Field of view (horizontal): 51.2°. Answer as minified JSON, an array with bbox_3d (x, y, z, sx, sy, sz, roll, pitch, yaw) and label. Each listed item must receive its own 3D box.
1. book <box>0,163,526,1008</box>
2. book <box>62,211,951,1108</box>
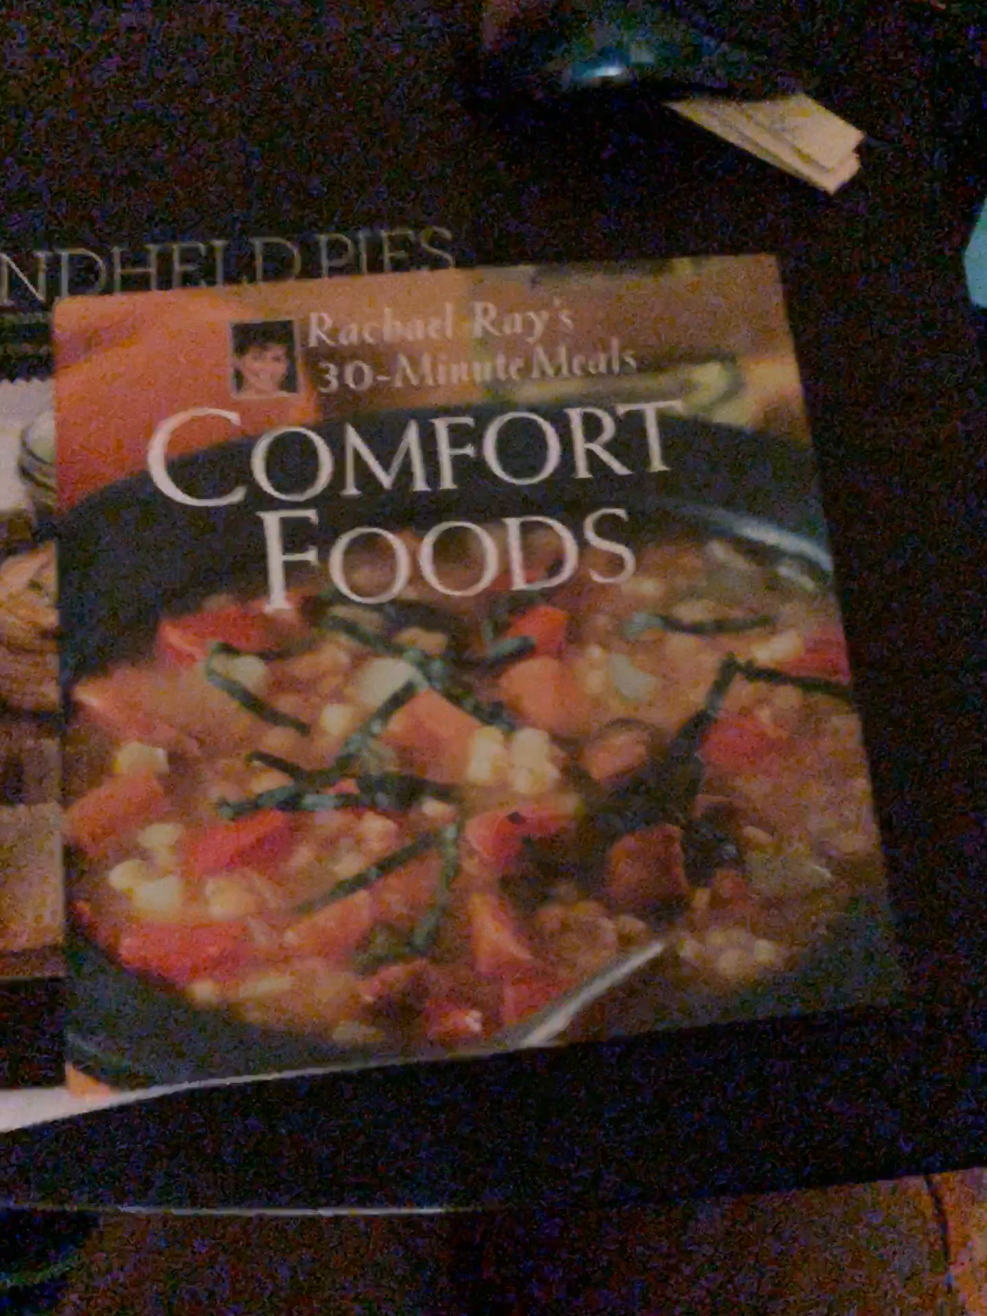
[{"bbox_3d":[-0.093,-0.029,0.285,0.180,0.020,0.220,-5,77,-2],"label":"book"},{"bbox_3d":[-0.005,-0.009,0.267,0.200,0.020,0.210,-6,77,-3],"label":"book"}]
